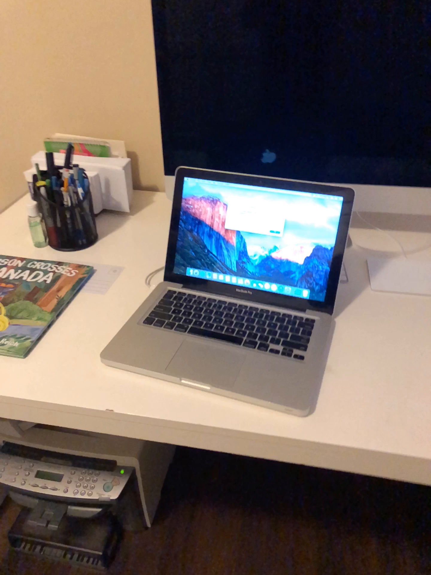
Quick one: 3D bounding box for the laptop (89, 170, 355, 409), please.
[{"bbox_3d":[0.031,-0.026,0.743,0.302,0.187,0.314,11,36,17],"label":"laptop"}]
